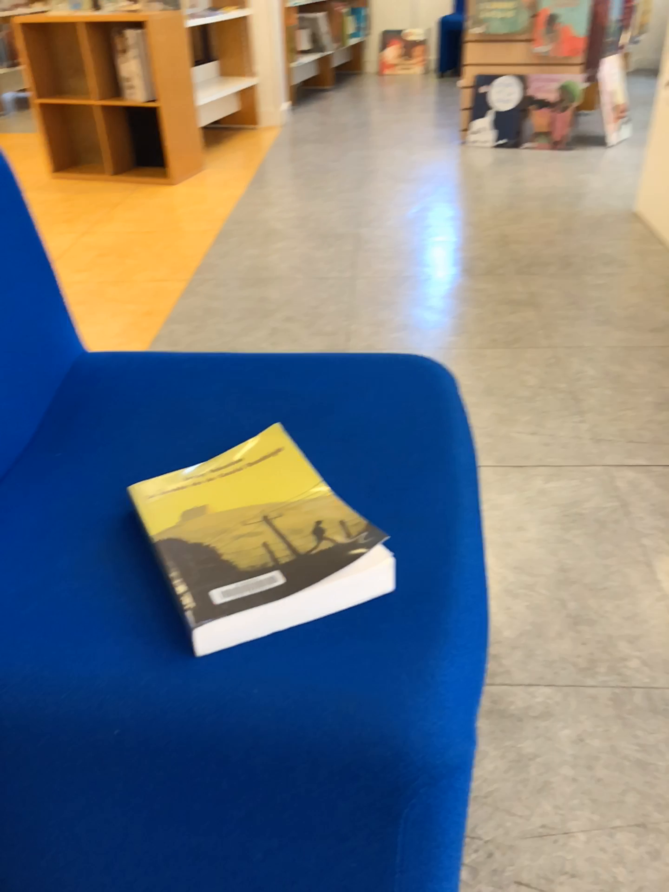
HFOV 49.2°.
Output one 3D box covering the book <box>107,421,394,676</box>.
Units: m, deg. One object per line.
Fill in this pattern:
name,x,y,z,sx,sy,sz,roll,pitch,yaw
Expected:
book,-0.073,0.059,0.547,0.145,0.040,0.215,-17,31,-20
